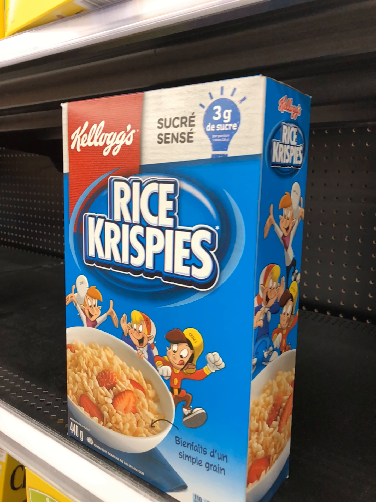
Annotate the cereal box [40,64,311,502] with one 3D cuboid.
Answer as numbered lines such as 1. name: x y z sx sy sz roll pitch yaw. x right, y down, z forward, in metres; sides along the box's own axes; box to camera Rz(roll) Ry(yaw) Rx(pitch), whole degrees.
1. cereal box: -0.022 0.031 0.337 0.200 0.299 0.080 8 11 37
